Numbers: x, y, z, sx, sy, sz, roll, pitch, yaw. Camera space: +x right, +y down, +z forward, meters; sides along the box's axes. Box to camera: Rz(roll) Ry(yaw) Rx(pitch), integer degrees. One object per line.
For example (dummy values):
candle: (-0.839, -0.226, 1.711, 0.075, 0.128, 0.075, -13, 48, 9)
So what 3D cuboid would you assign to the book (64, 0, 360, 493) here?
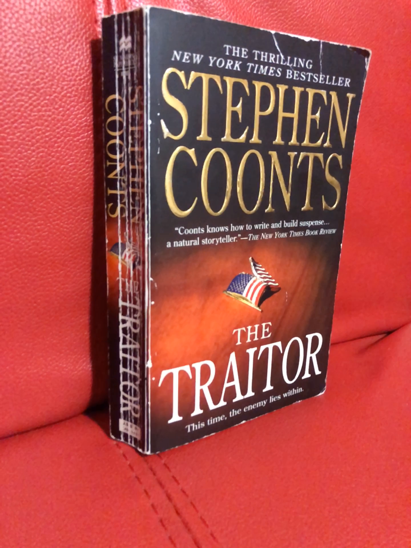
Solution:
book: (0.008, -0.017, 0.204, 0.120, 0.180, 0.040, -7, 14, -35)
